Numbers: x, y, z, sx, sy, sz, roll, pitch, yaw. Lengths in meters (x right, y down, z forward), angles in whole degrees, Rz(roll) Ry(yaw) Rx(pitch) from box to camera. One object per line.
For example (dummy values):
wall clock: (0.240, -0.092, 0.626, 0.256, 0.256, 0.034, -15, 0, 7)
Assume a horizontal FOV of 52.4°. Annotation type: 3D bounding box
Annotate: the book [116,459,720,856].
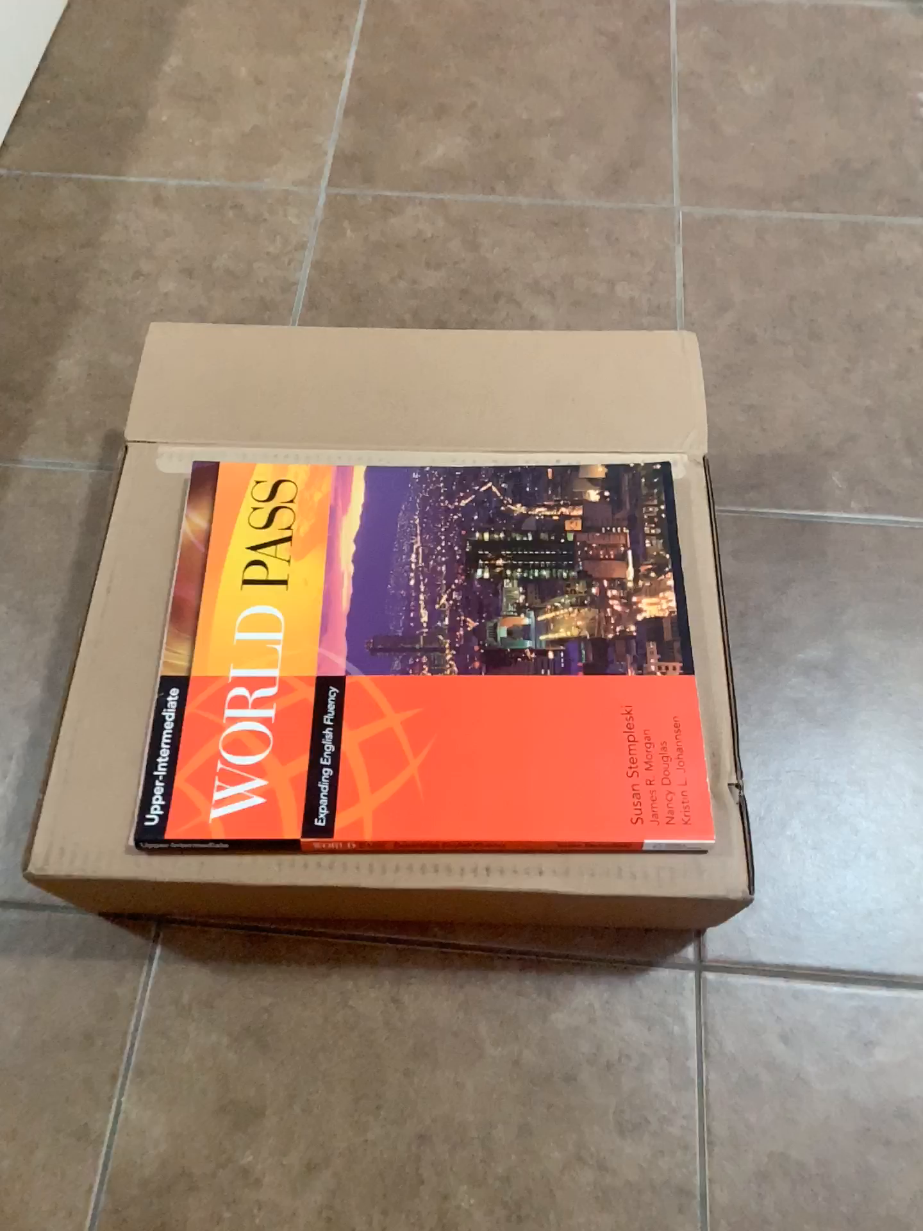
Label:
book: (-0.019, 0.013, 0.475, 0.270, 0.018, 0.211, 0, 63, 1)
